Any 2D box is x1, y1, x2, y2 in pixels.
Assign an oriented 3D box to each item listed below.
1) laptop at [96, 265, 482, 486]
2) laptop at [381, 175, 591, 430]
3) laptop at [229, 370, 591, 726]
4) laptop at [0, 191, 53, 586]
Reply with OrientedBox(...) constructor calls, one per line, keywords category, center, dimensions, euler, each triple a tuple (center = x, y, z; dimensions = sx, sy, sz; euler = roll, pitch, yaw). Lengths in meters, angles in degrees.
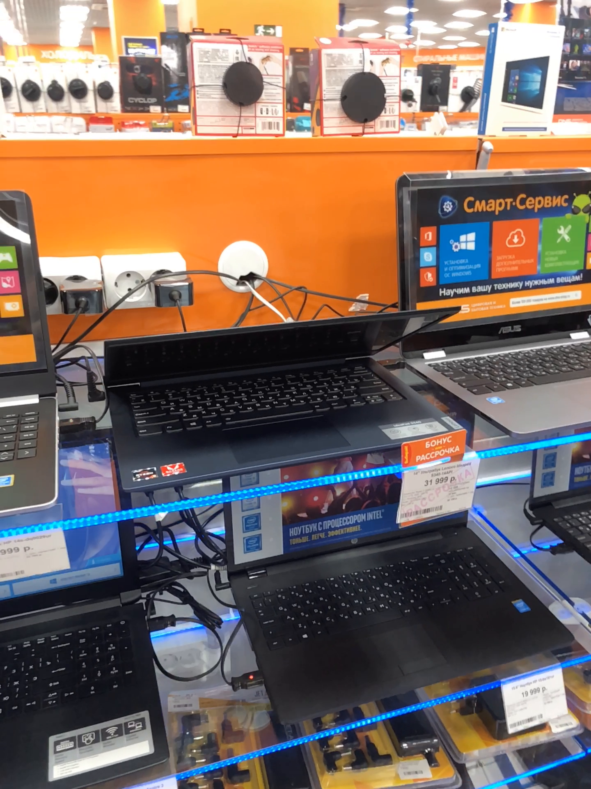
OrientedBox(category="laptop", center=(-0.021, -0.036, 0.614), dimensions=(0.302, 0.108, 0.204), euler=(-8, 24, -15))
OrientedBox(category="laptop", center=(0.313, -0.128, 0.728), dimensions=(0.330, 0.202, 0.258), euler=(-9, 25, -21))
OrientedBox(category="laptop", center=(0.122, 0.152, 0.781), dimensions=(0.354, 0.227, 0.258), euler=(-8, 26, -16))
OrientedBox(category="laptop", center=(-0.374, -0.041, 0.516), dimensions=(0.302, 0.200, 0.251), euler=(-7, 24, -17))
